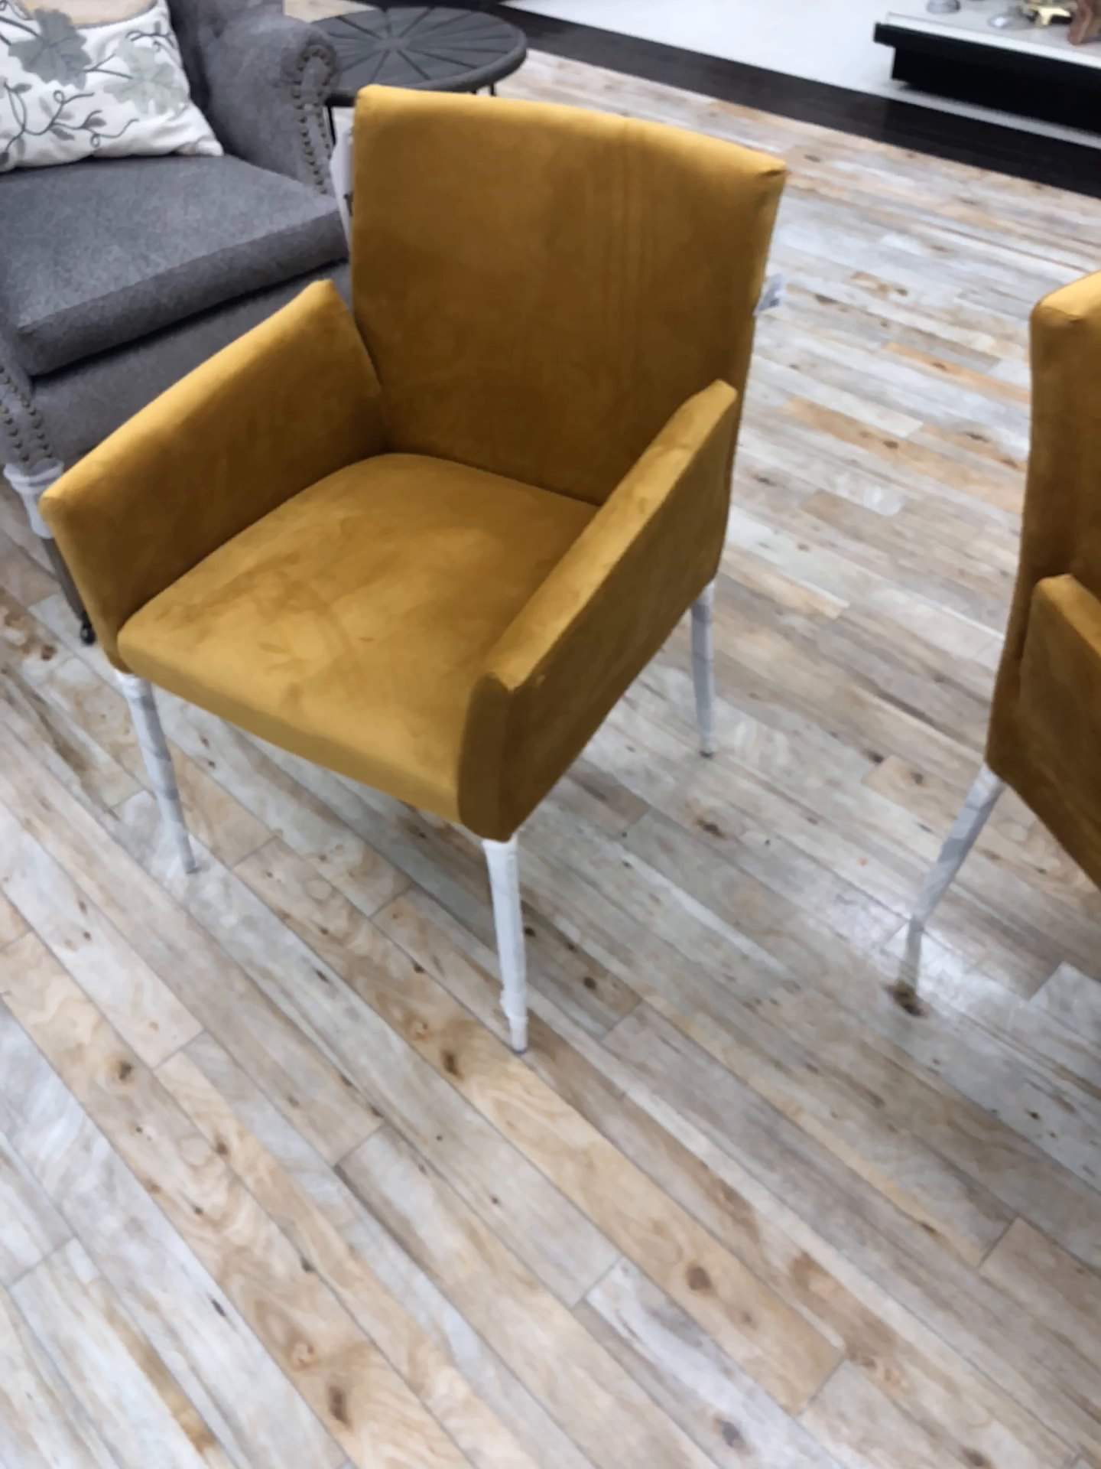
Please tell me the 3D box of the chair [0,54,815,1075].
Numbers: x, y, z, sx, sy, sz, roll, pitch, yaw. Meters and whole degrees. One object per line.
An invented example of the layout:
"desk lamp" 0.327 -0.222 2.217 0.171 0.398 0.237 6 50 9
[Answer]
"chair" -0.129 -0.182 1.309 0.561 0.797 0.541 22 50 25
